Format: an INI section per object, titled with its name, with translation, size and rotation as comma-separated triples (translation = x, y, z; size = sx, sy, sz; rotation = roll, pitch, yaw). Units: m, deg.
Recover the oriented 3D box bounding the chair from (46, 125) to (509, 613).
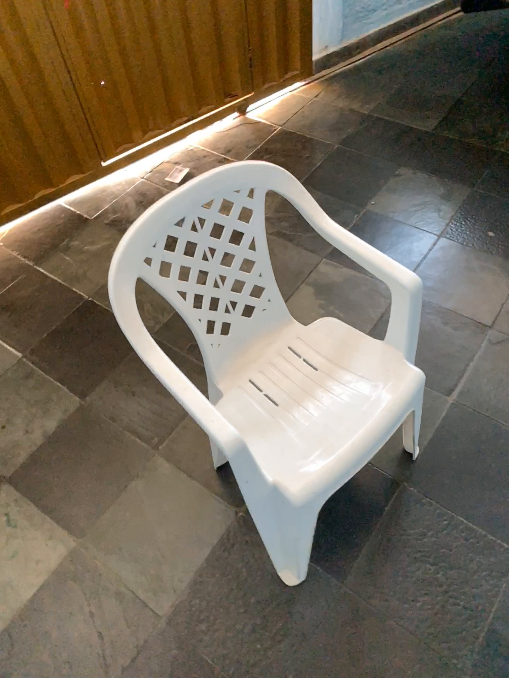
[chair]
translation = 0.078, 0.084, 1.126
size = 0.591, 0.717, 0.541
rotation = 35, 64, 28
